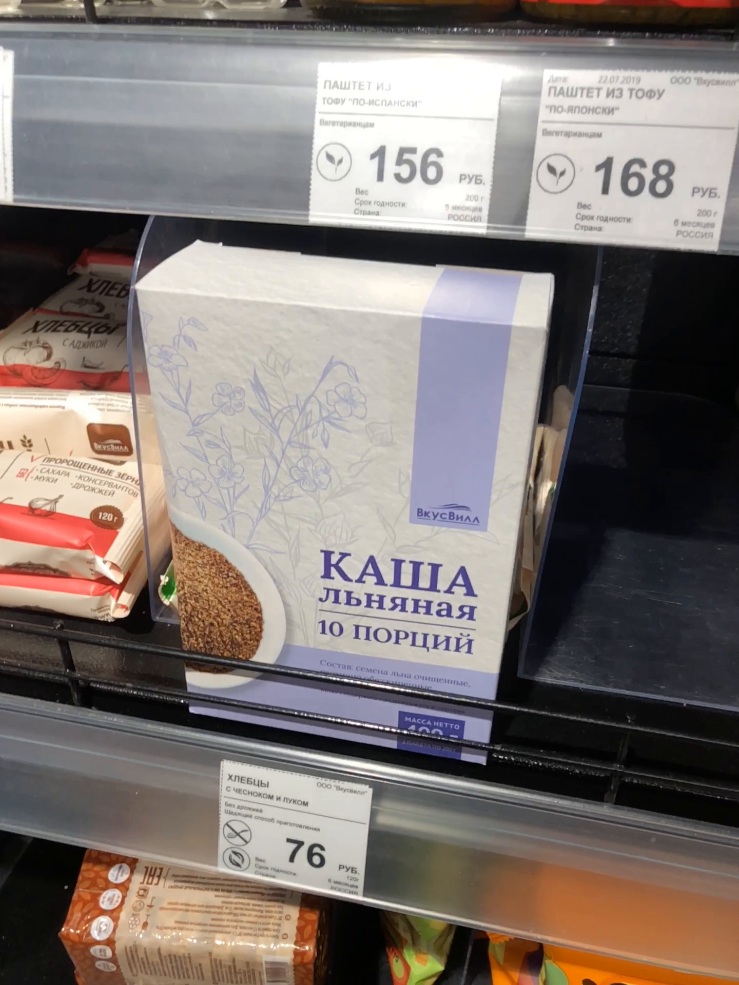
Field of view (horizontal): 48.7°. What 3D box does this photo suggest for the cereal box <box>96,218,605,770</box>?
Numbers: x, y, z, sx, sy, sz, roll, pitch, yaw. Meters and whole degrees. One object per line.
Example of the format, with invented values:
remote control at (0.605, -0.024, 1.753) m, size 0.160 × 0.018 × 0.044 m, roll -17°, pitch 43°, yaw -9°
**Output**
cereal box at (-0.006, 0.006, 0.304) m, size 0.150 × 0.189 × 0.050 m, roll 7°, pitch 32°, yaw 10°
